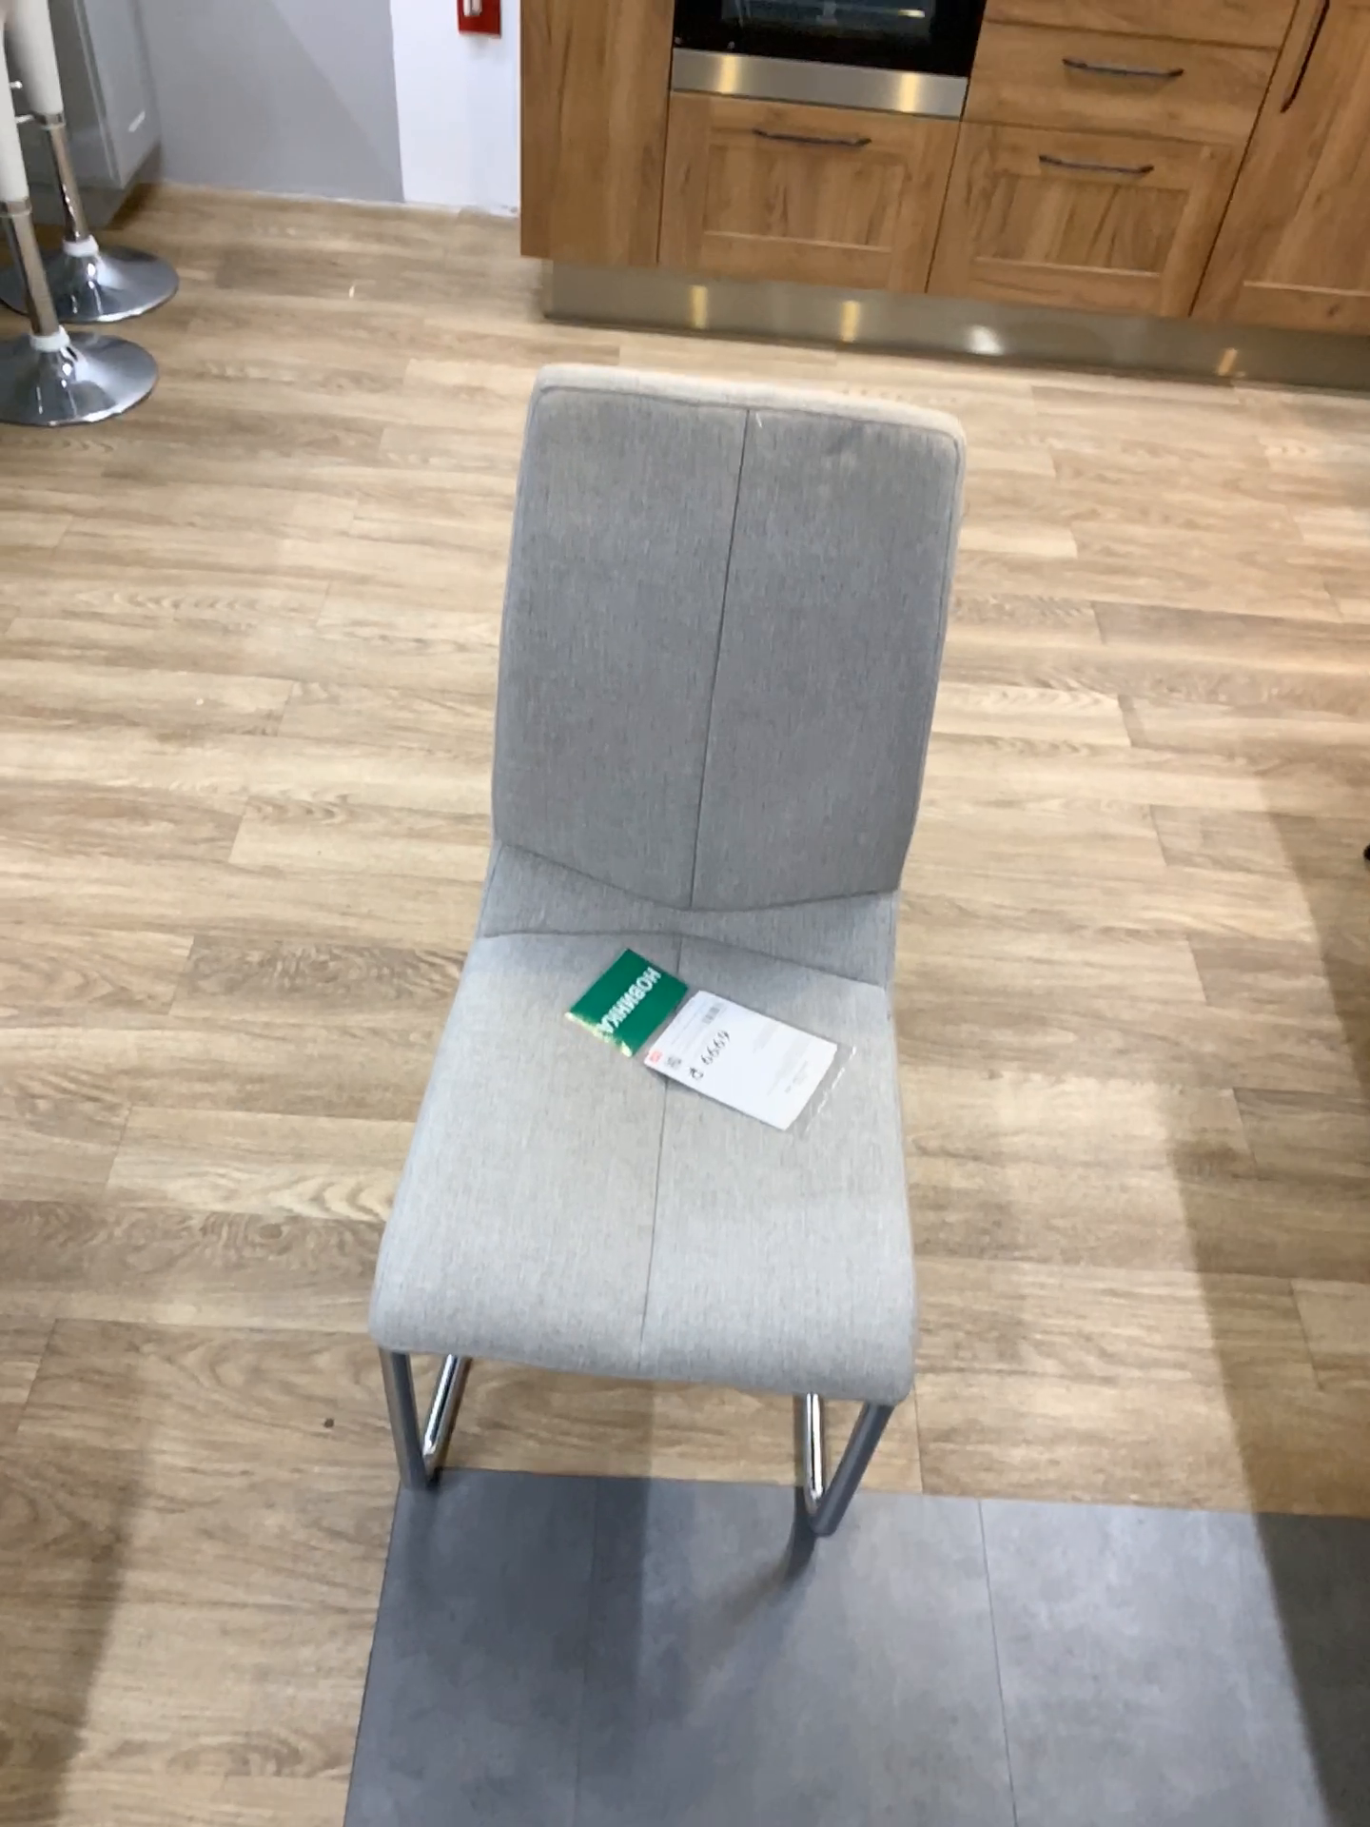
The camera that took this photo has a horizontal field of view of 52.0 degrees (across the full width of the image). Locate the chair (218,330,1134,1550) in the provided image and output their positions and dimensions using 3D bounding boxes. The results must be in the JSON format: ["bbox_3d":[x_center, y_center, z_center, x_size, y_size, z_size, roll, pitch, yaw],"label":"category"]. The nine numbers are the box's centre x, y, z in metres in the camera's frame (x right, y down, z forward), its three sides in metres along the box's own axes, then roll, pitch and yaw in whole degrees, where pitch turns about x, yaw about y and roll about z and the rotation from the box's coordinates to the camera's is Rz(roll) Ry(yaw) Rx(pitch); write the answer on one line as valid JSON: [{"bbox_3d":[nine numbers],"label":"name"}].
[{"bbox_3d":[-0.025,0.096,1.303,0.490,0.985,0.573,6,47,-1],"label":"chair"}]
